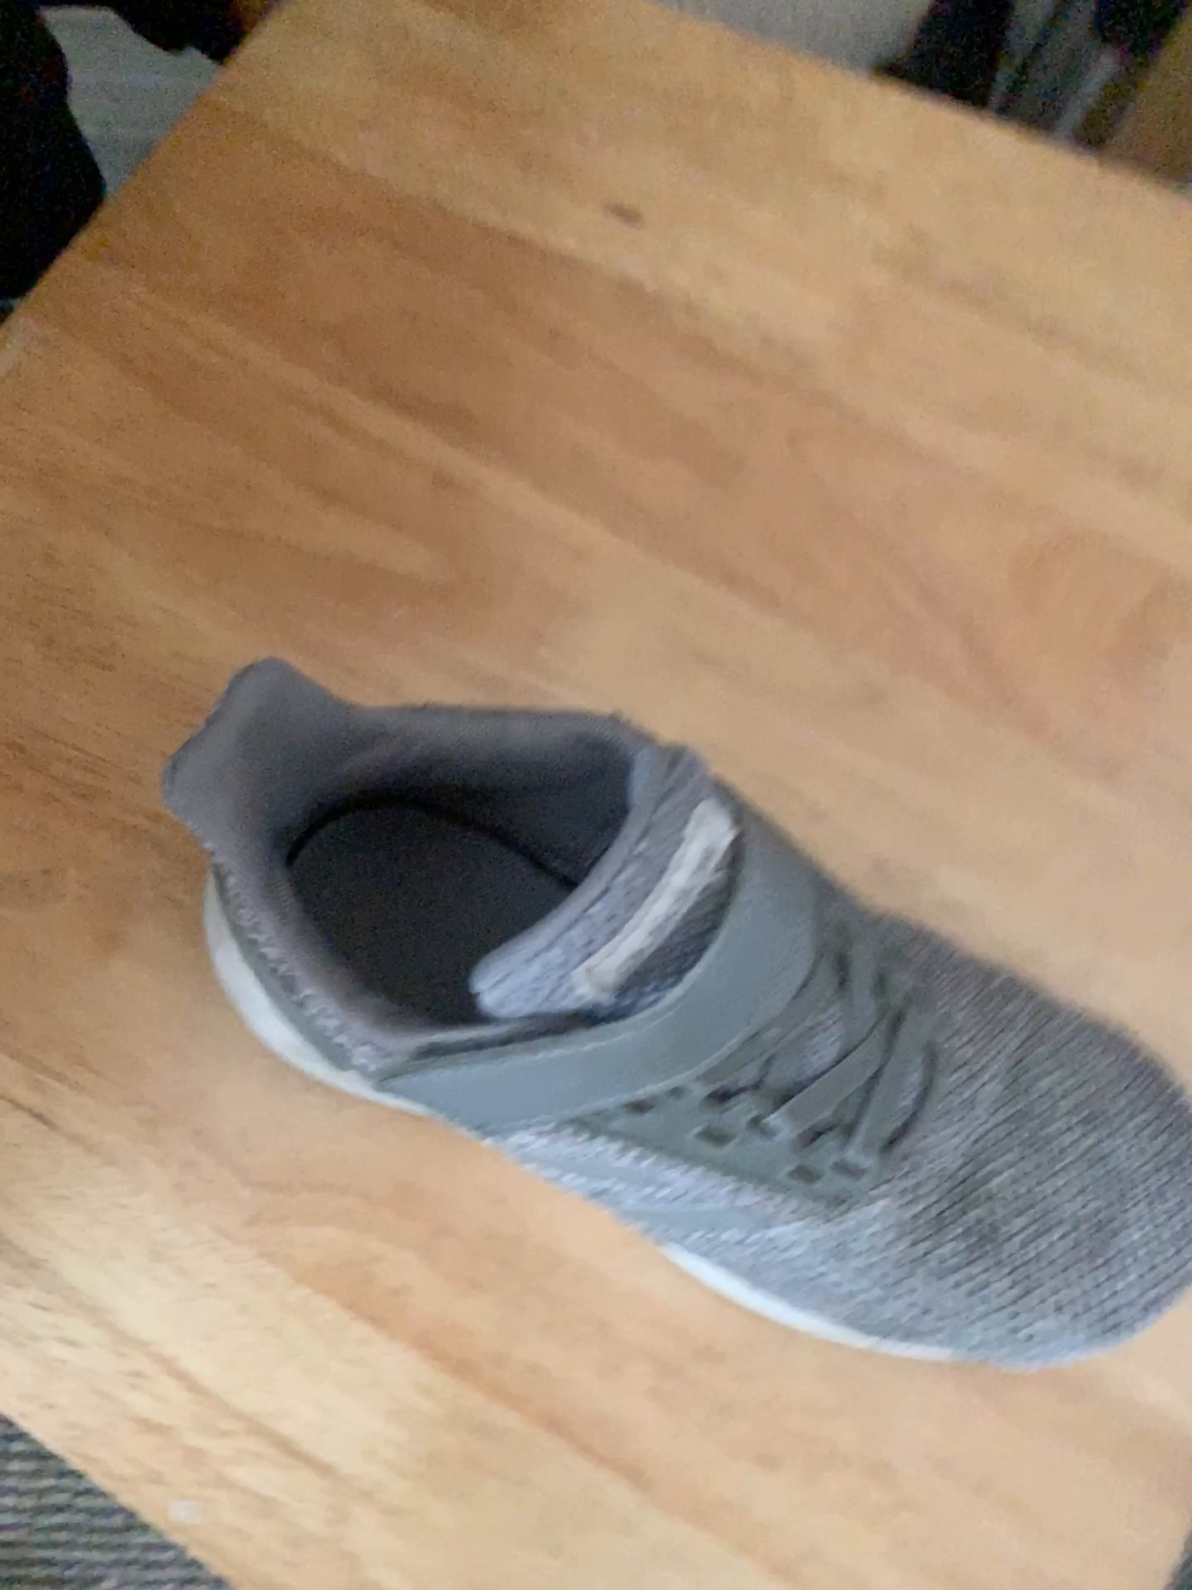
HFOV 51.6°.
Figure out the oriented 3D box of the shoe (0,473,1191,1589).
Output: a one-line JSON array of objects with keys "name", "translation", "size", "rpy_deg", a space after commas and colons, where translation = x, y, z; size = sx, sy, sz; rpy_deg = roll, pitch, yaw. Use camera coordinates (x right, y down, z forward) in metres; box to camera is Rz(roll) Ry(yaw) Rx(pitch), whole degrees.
[{"name": "shoe", "translation": [0.025, 0.040, 0.228], "size": [0.220, 0.080, 0.090], "rpy_deg": [24, 74, 3]}]
